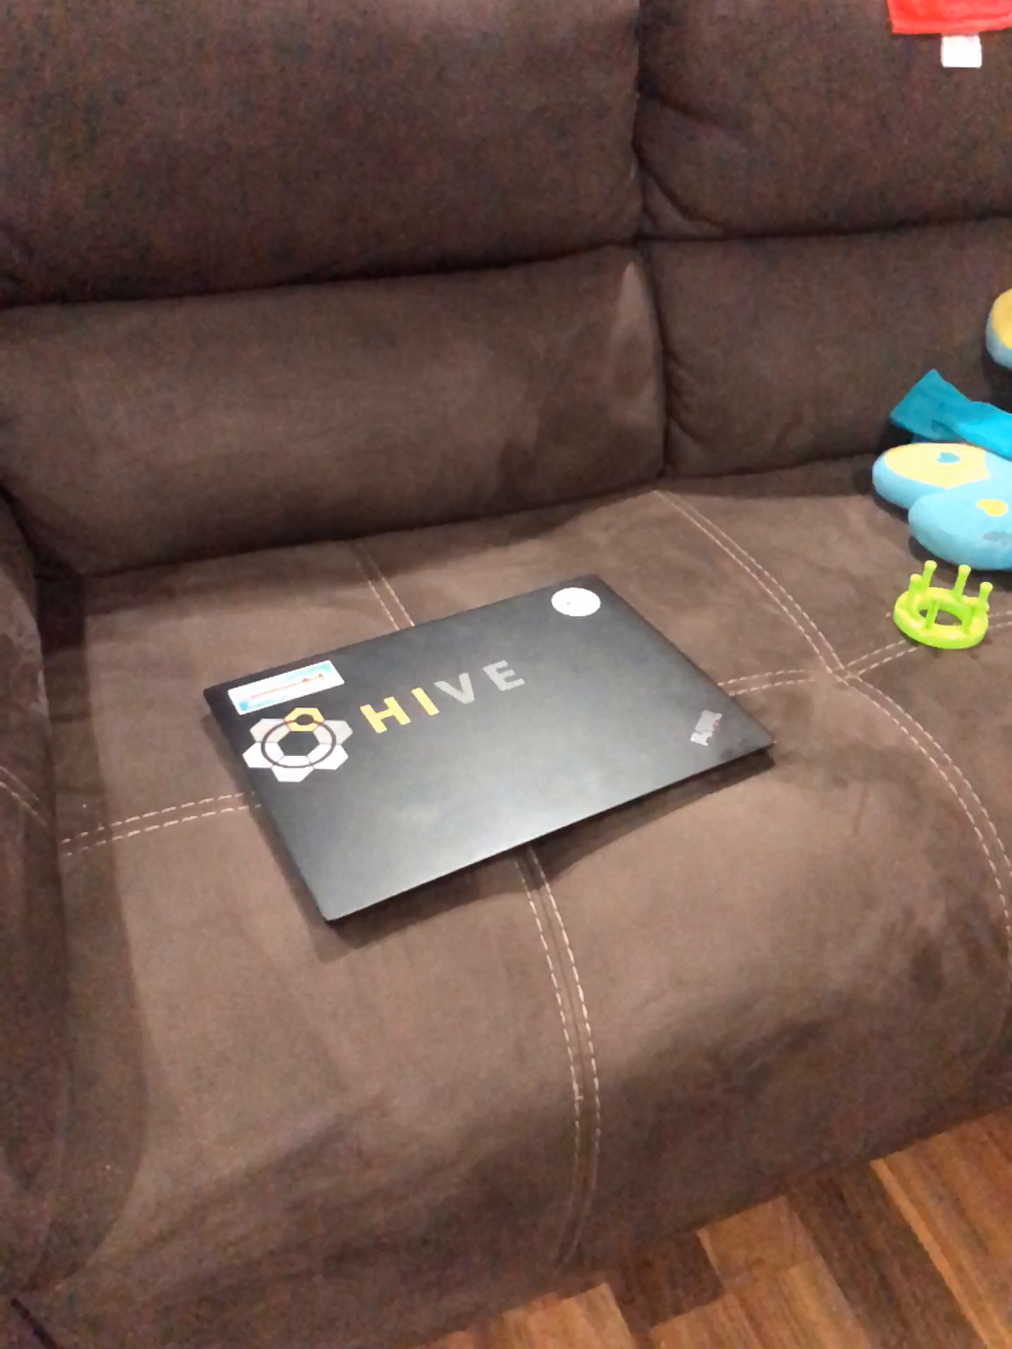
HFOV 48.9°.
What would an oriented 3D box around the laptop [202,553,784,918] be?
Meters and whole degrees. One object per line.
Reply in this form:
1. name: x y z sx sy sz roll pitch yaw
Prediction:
1. laptop: -0.015 0.020 0.774 0.329 0.019 0.236 -18 42 -22
